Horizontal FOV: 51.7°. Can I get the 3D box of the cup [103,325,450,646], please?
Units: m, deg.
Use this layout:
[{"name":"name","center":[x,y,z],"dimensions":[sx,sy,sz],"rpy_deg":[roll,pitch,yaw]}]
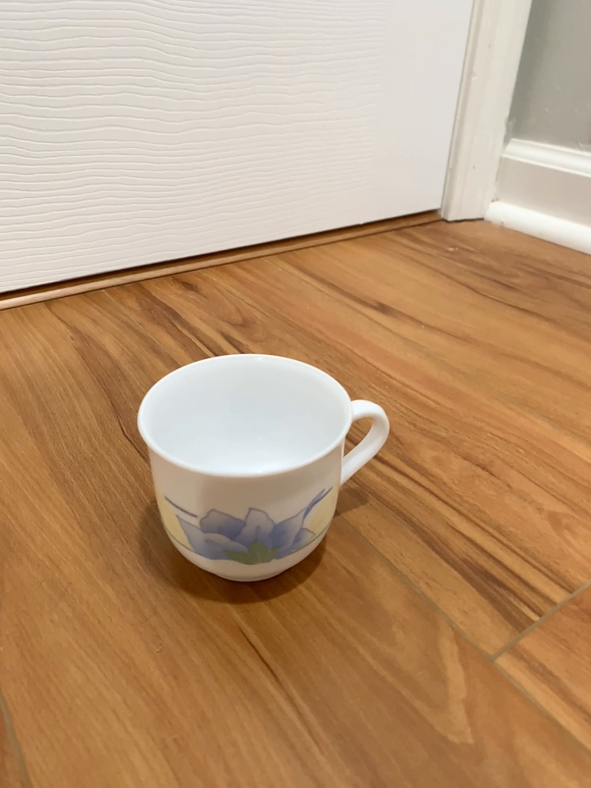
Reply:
[{"name":"cup","center":[-0.011,0.027,0.246],"dimensions":[0.104,0.063,0.084],"rpy_deg":[-16,36,-26]}]
